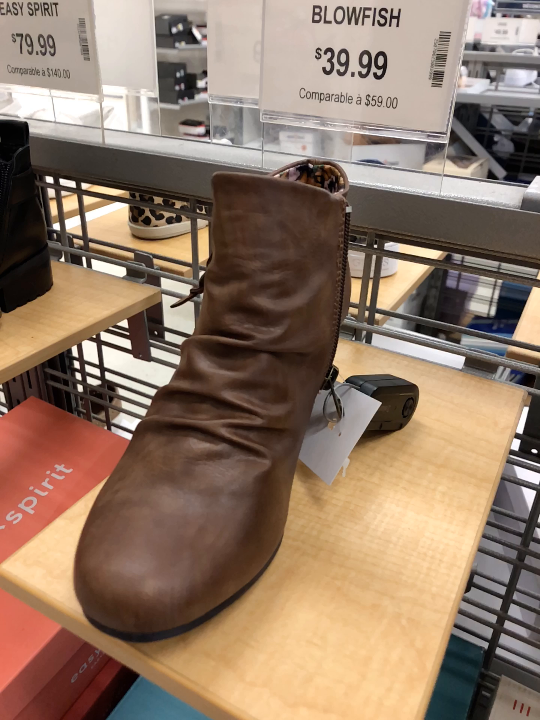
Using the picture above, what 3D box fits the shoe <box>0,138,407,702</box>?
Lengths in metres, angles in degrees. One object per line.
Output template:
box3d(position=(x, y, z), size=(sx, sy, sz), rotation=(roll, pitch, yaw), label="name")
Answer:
box3d(position=(-0.017, -0.008, 0.274), size=(0.090, 0.139, 0.232), rotation=(14, 32, 19), label="shoe")
